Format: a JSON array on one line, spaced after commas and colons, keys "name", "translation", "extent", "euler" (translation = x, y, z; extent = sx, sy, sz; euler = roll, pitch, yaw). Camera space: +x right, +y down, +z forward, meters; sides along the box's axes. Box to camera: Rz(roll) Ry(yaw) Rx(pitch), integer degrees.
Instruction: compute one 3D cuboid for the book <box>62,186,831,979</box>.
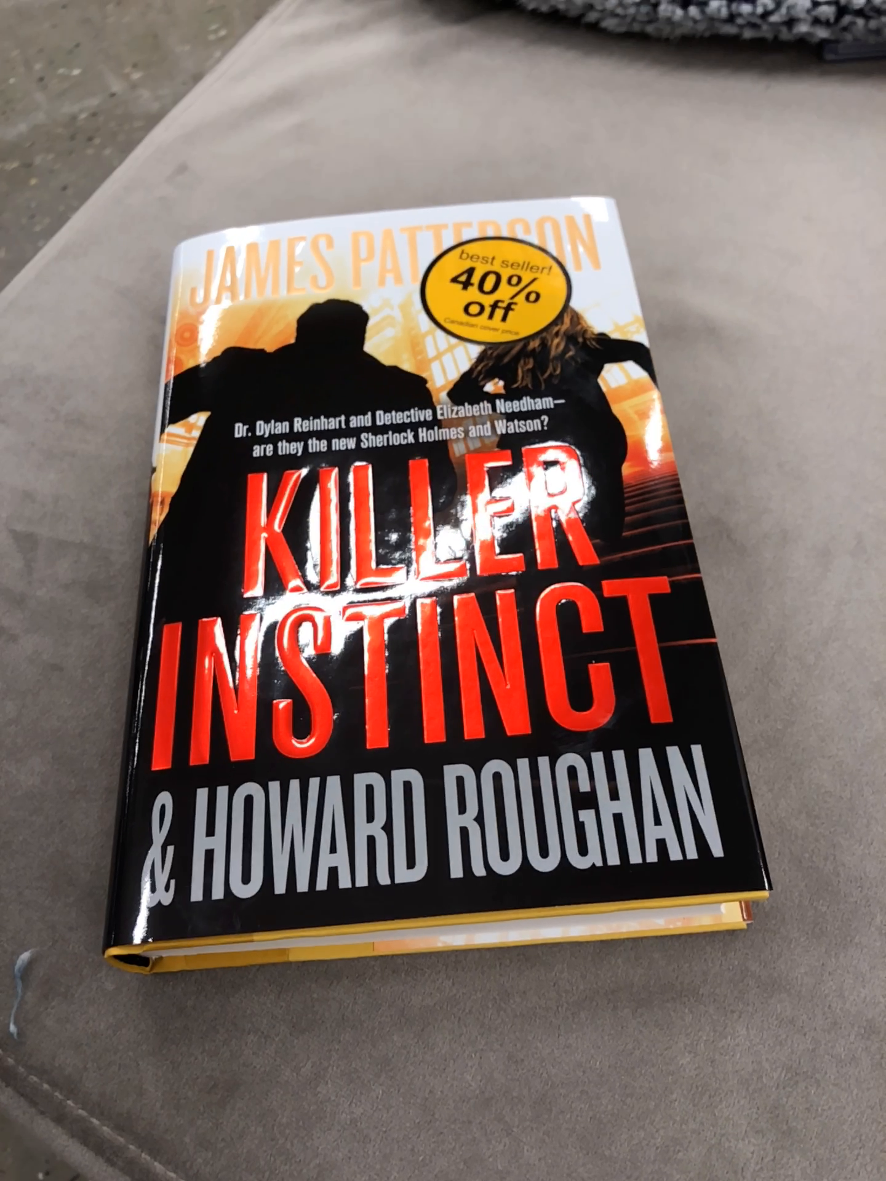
[{"name": "book", "translation": [-0.006, -0.019, 0.296], "extent": [0.172, 0.038, 0.238], "euler": [-5, 60, 2]}]
